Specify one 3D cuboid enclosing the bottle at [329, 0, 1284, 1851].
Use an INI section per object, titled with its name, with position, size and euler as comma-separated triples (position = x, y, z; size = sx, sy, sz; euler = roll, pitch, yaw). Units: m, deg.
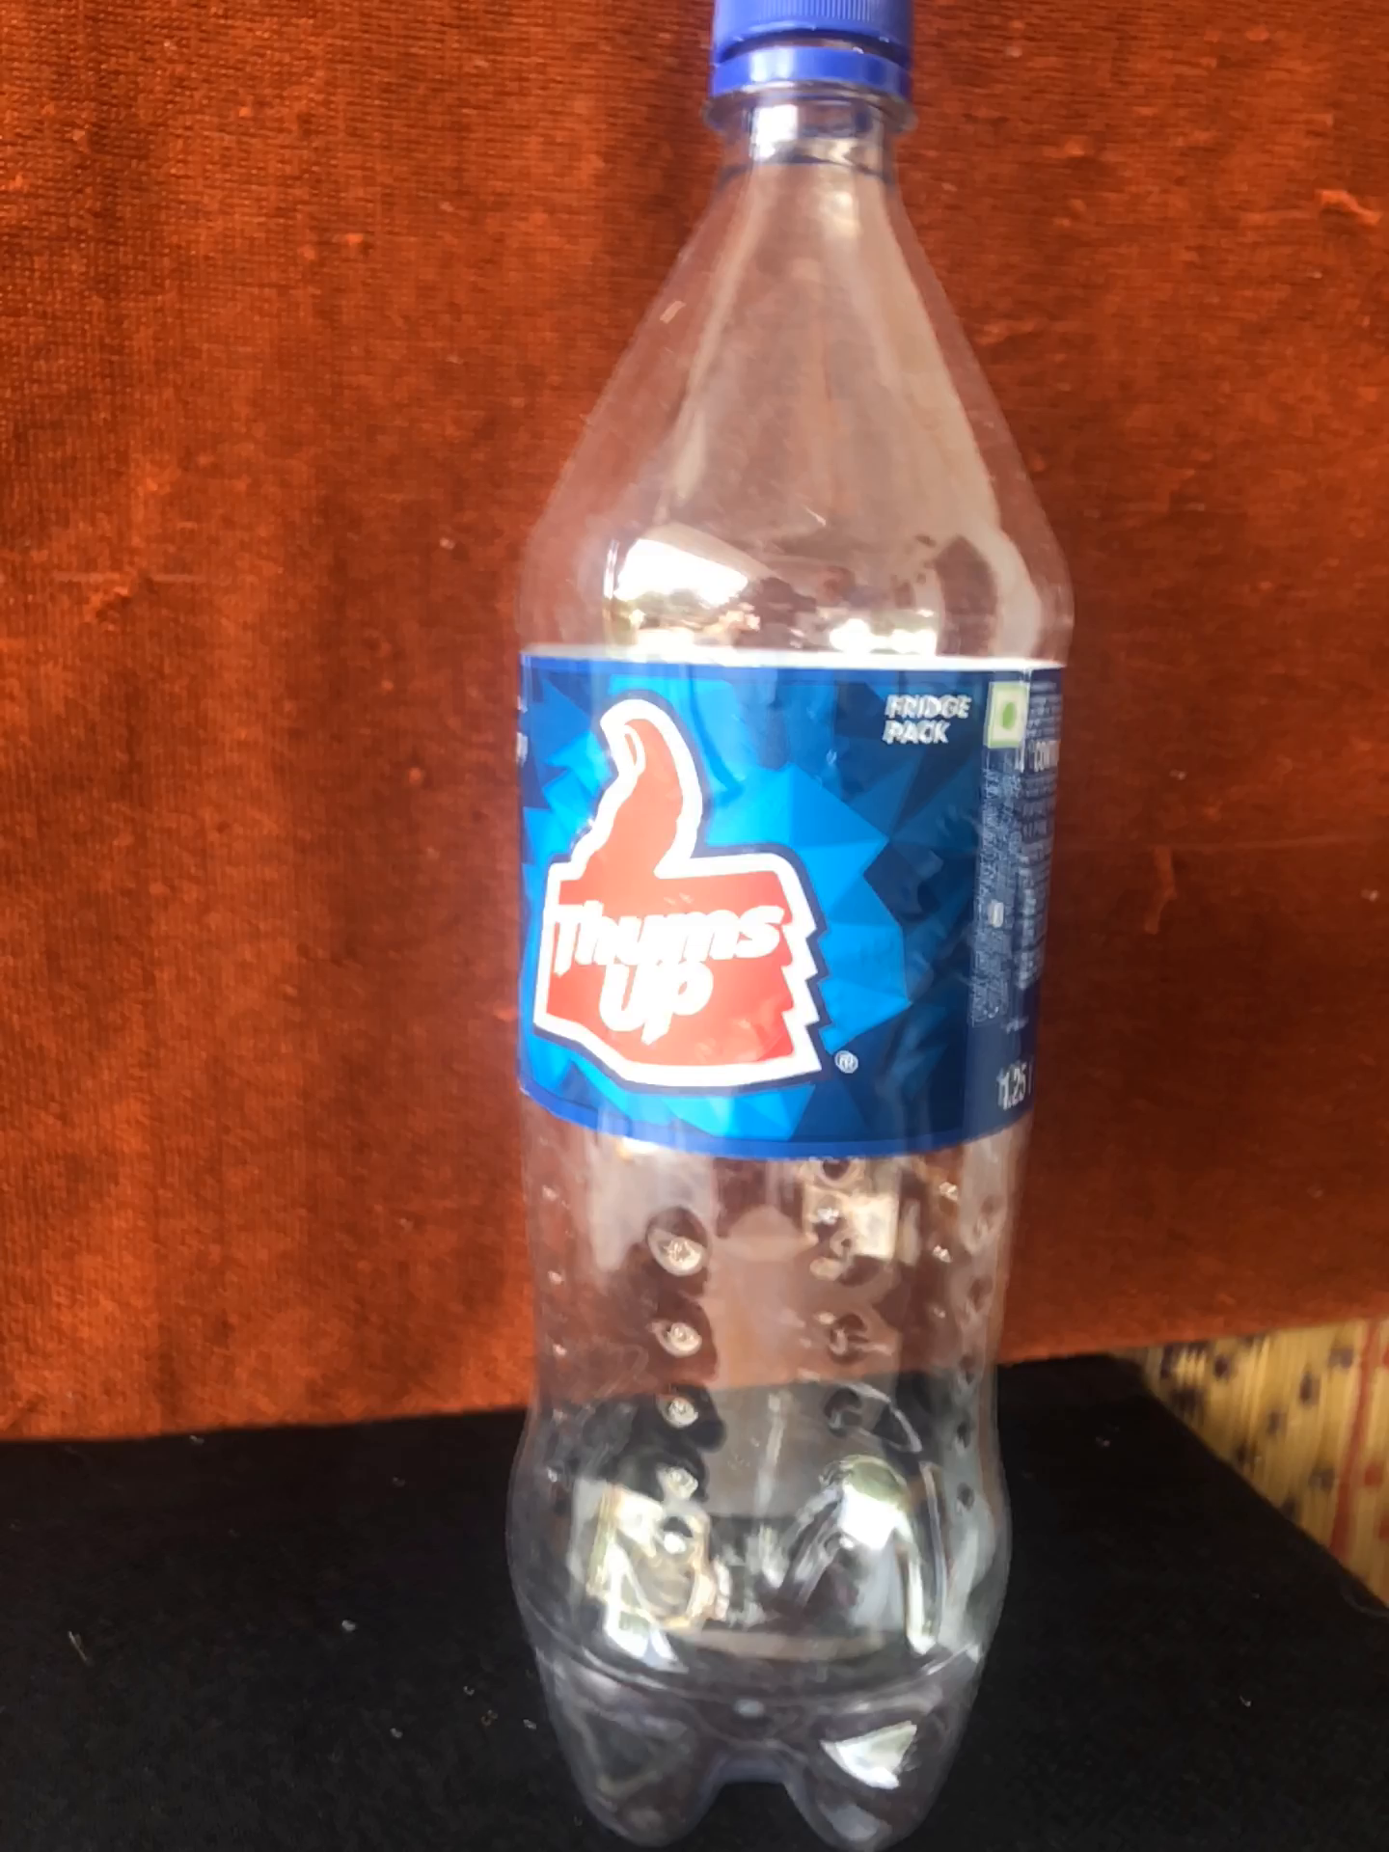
[bottle]
position = 0.013, -0.008, 0.244
size = 0.100, 0.289, 0.090
euler = 10, 14, 27
